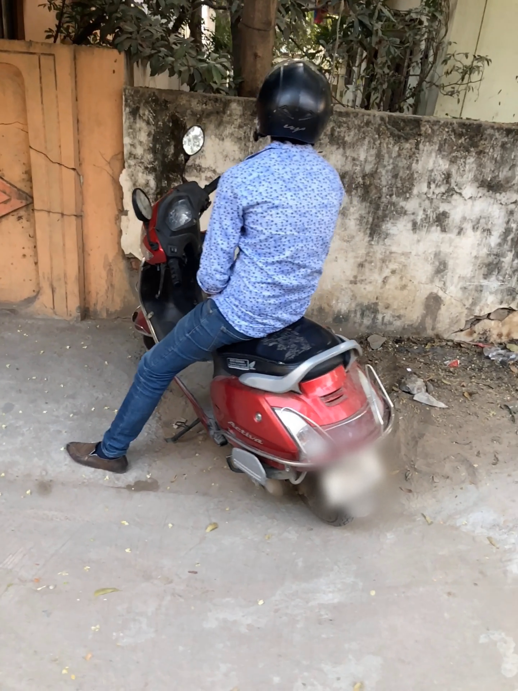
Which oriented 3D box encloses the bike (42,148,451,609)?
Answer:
[{"bbox_3d":[-0.206,-0.043,2.334,0.725,1.165,1.504,-14,34,-37],"label":"bike"}]
